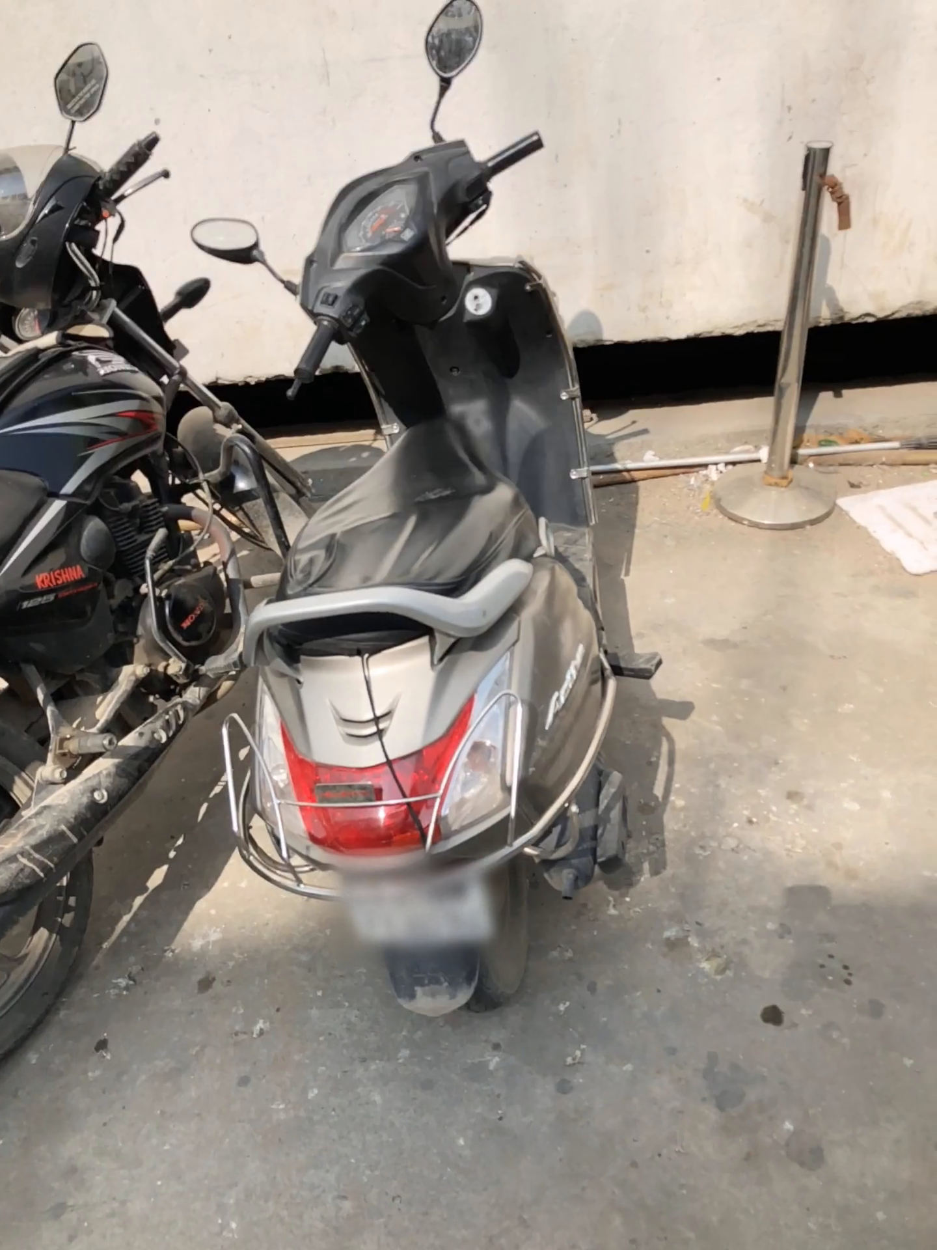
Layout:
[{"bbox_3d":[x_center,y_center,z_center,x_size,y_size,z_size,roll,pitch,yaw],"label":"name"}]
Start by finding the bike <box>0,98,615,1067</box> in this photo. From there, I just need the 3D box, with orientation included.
[{"bbox_3d":[-0.044,-0.205,1.878,0.616,1.107,1.507,0,35,8],"label":"bike"}]
